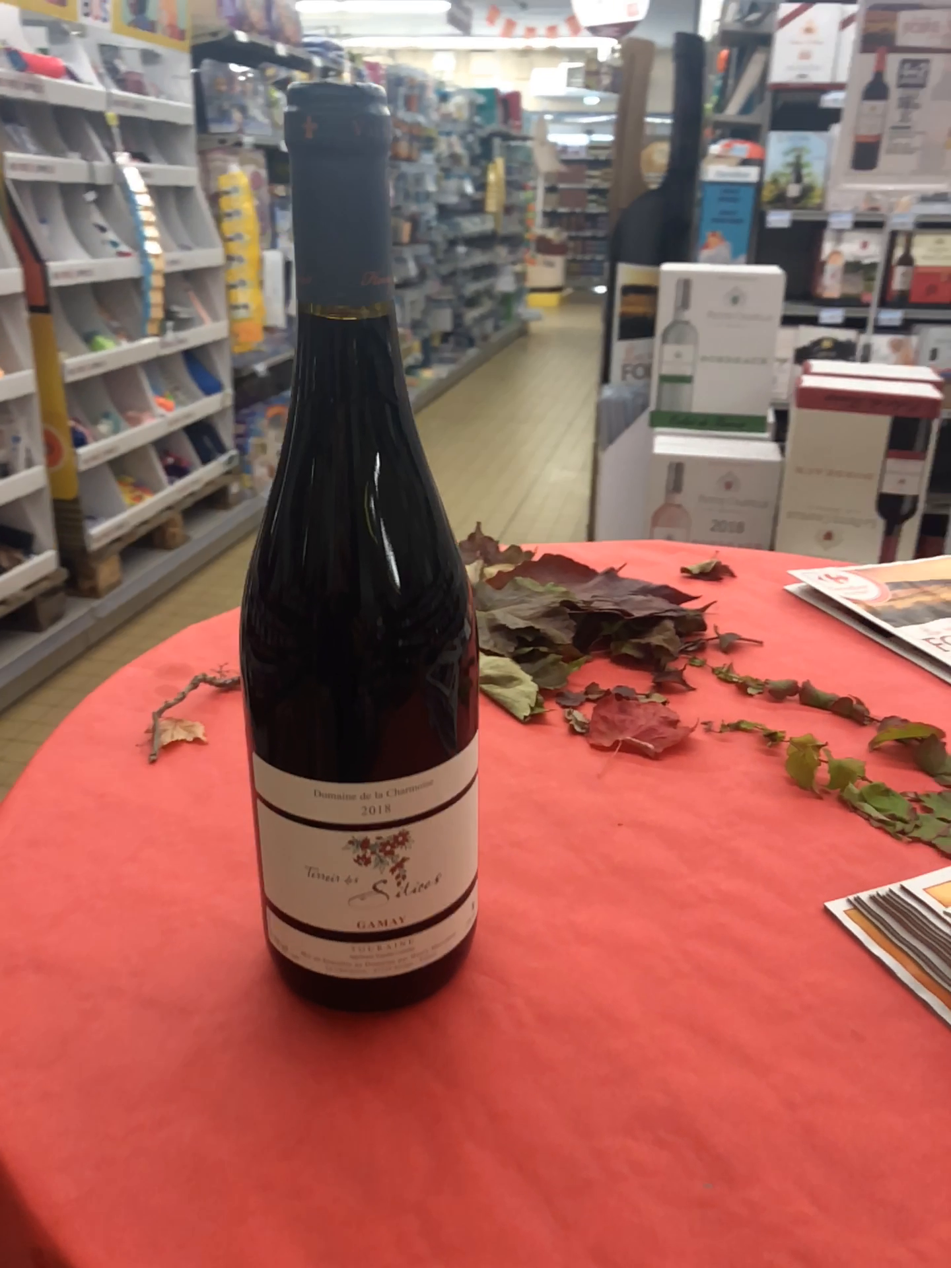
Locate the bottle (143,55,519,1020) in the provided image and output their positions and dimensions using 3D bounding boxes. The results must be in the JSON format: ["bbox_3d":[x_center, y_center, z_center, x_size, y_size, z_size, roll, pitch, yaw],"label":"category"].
[{"bbox_3d":[-0.043,-0.022,0.348,0.090,0.289,0.090,1,22,0],"label":"bottle"}]
